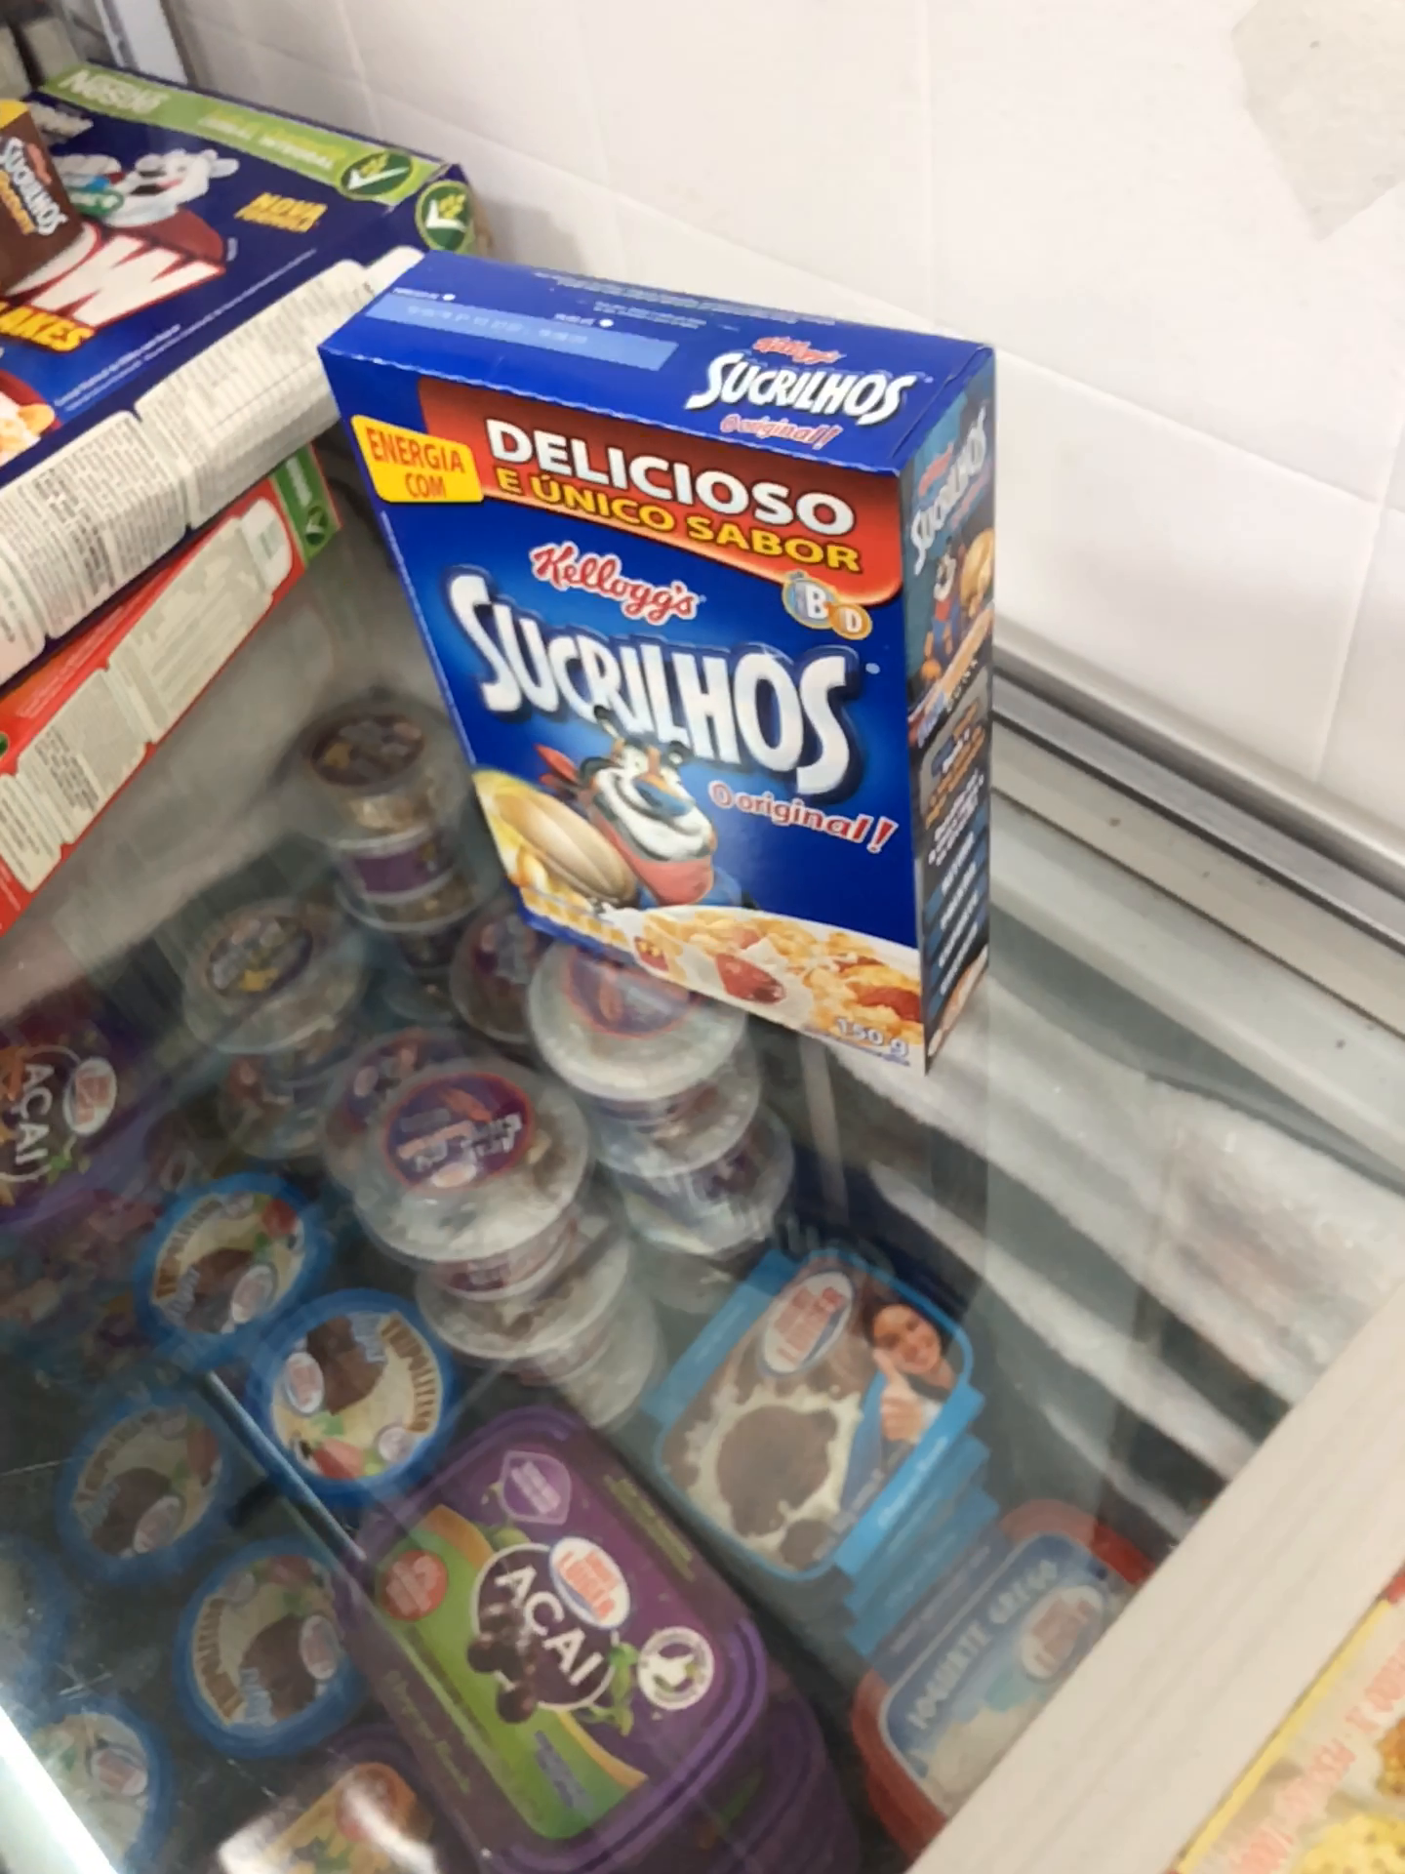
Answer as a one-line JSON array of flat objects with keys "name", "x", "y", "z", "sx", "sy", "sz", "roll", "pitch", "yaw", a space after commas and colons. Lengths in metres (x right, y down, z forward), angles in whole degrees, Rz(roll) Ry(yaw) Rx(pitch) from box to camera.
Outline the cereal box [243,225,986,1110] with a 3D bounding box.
[{"name": "cereal box", "x": -0.008, "y": -0.055, "z": 0.380, "sx": 0.140, "sy": 0.199, "sz": 0.050, "roll": 20, "pitch": 58, "yaw": 23}]
